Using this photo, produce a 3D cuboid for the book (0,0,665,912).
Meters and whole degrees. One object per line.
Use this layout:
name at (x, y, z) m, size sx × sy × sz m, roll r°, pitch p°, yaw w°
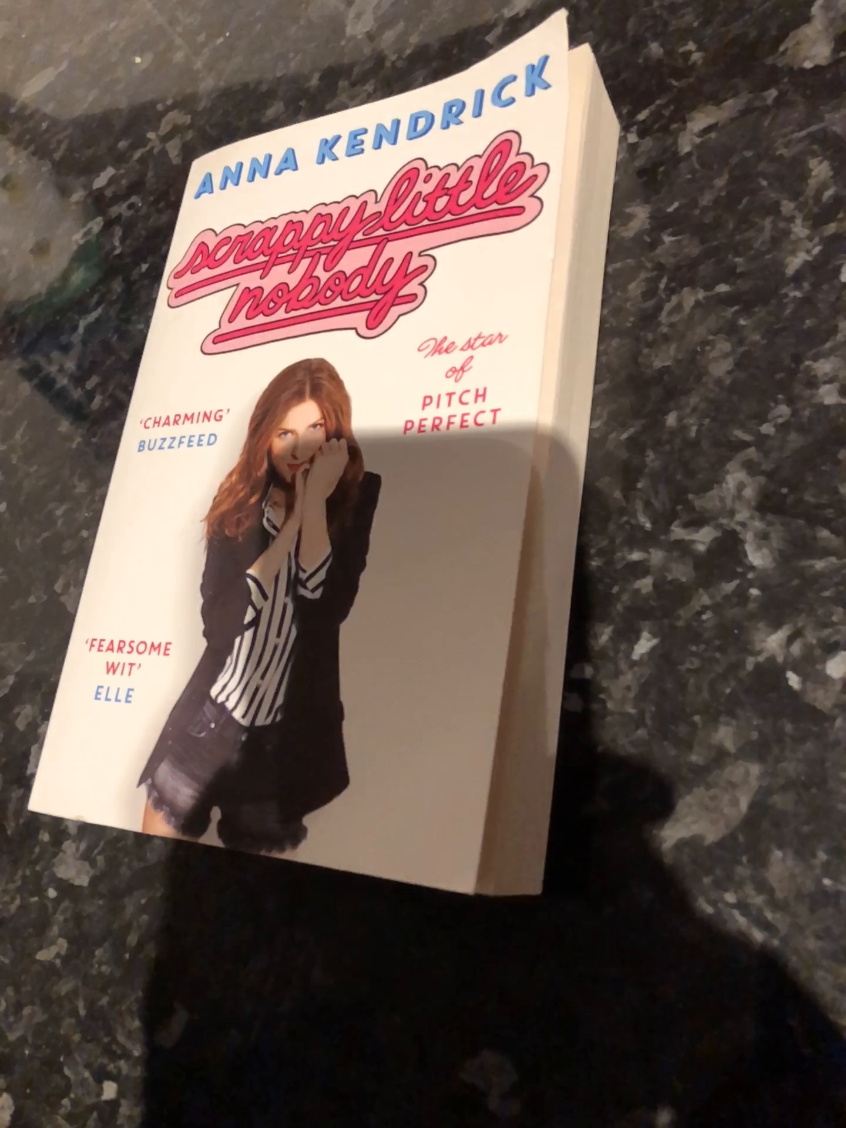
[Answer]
book at (-0.023, -0.034, 0.241) m, size 0.140 × 0.050 × 0.210 m, roll 1°, pitch 72°, yaw 28°
